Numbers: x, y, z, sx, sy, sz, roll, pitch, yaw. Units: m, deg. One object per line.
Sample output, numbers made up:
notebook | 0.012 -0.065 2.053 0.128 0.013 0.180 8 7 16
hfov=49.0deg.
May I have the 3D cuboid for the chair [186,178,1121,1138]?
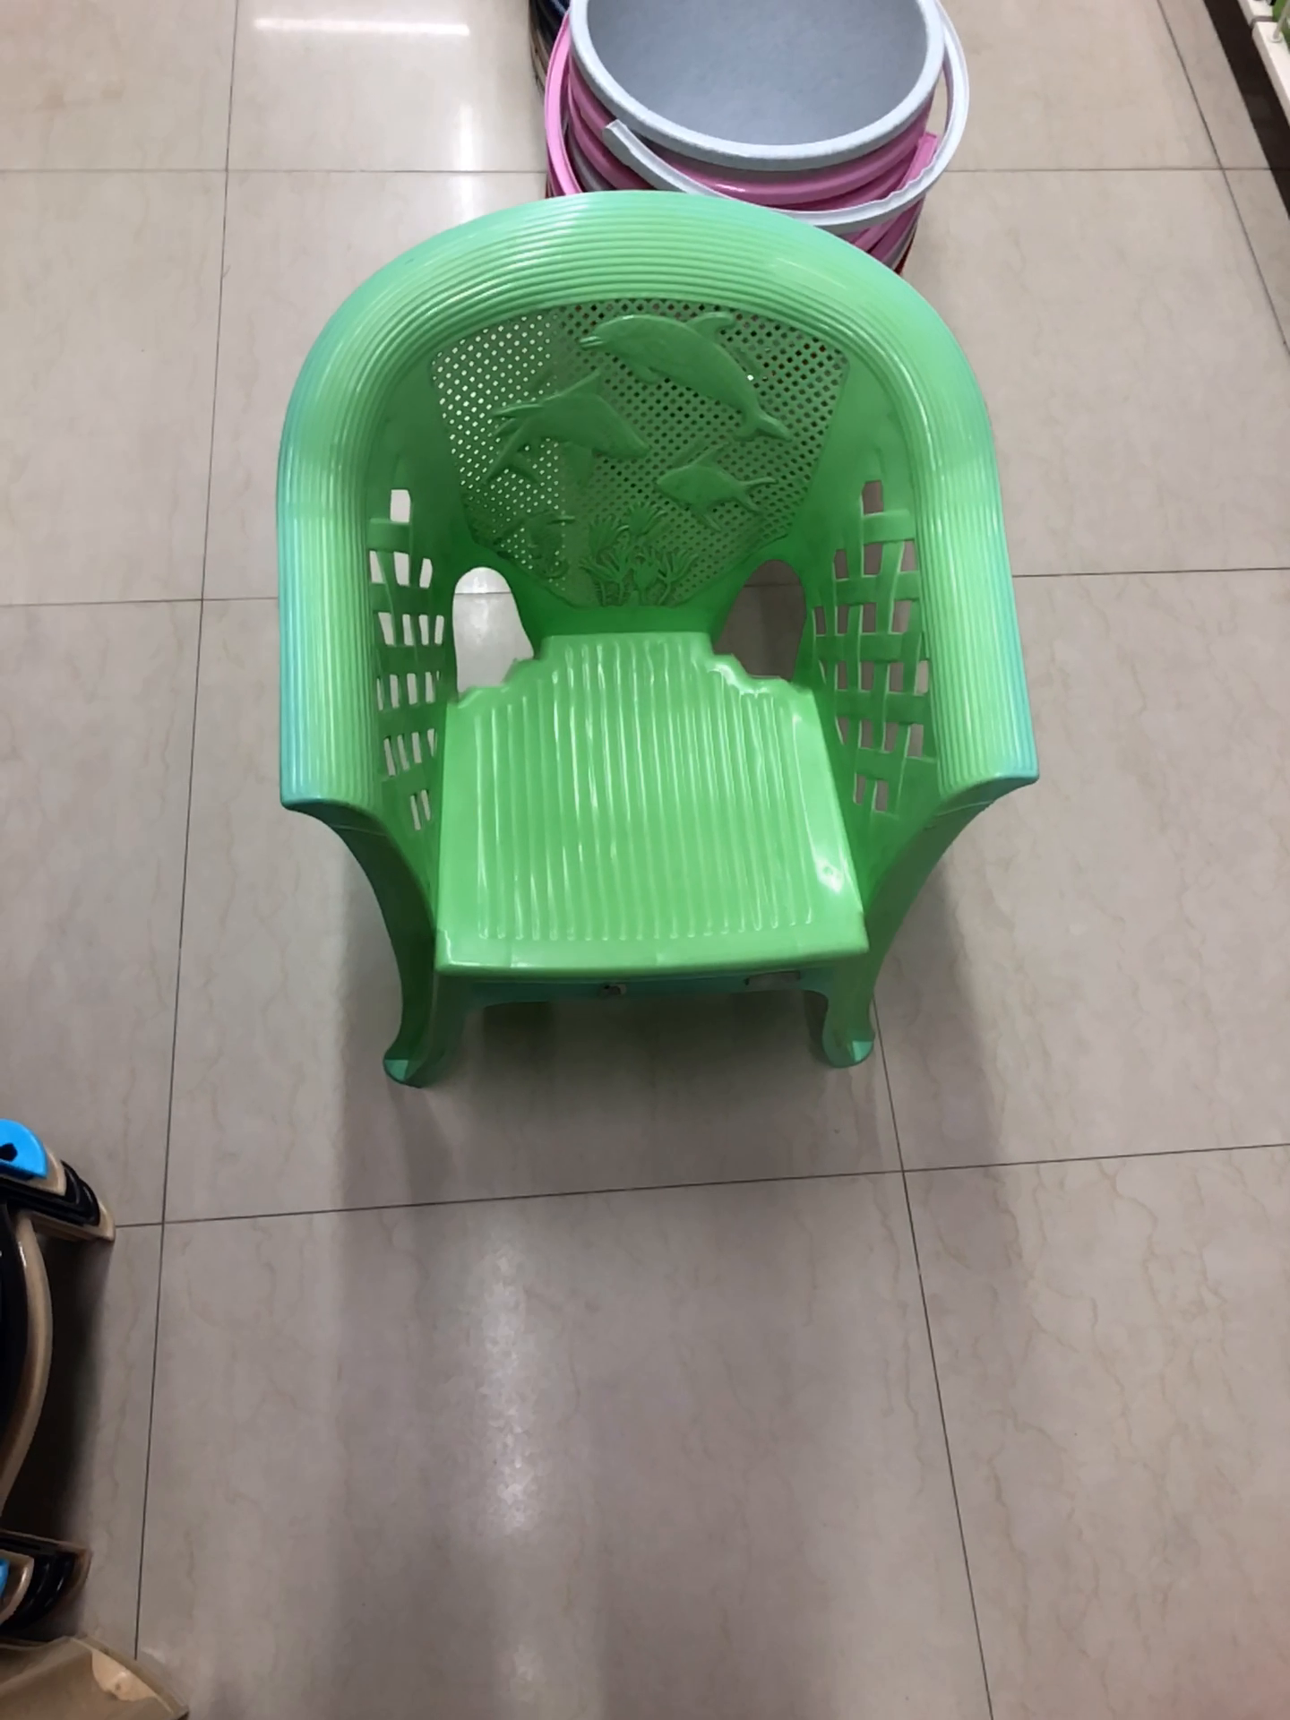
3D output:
chair | -0.017 -0.111 0.929 0.430 0.399 0.472 -2 65 -5
